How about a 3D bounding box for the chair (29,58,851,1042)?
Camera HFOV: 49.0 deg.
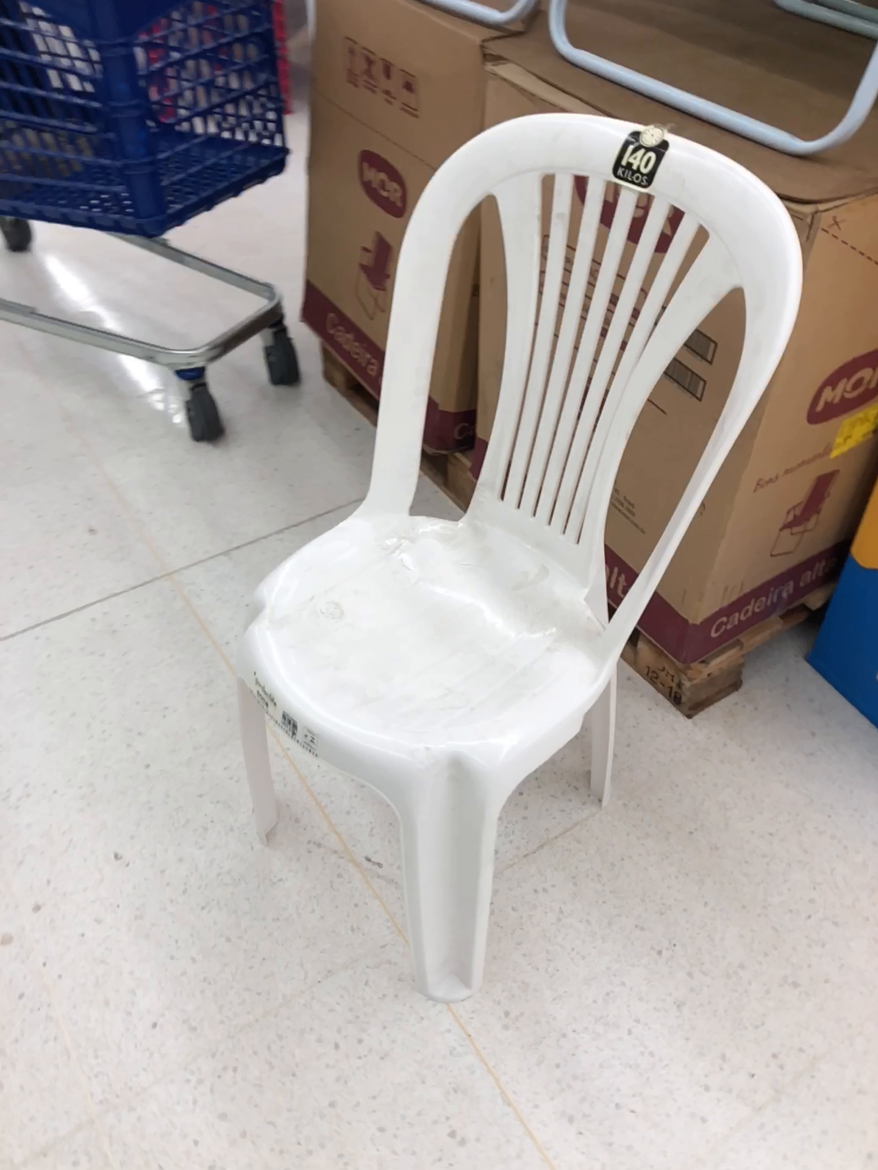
[{"bbox_3d":[0.009,-0.012,1.027,0.441,0.834,0.462,31,51,29],"label":"chair"}]
